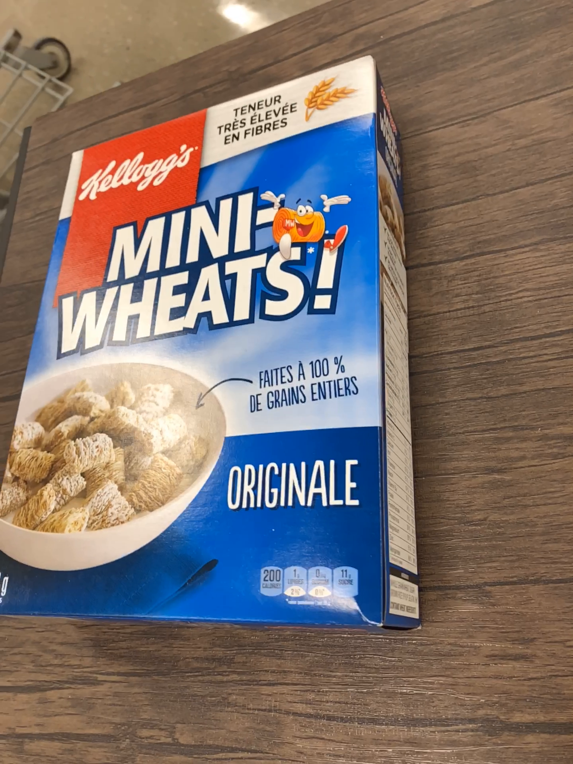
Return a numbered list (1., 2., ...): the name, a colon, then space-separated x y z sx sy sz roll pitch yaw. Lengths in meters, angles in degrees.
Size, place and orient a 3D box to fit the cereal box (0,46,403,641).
1. cereal box: -0.062 -0.019 0.331 0.230 0.060 0.270 -7 64 23
